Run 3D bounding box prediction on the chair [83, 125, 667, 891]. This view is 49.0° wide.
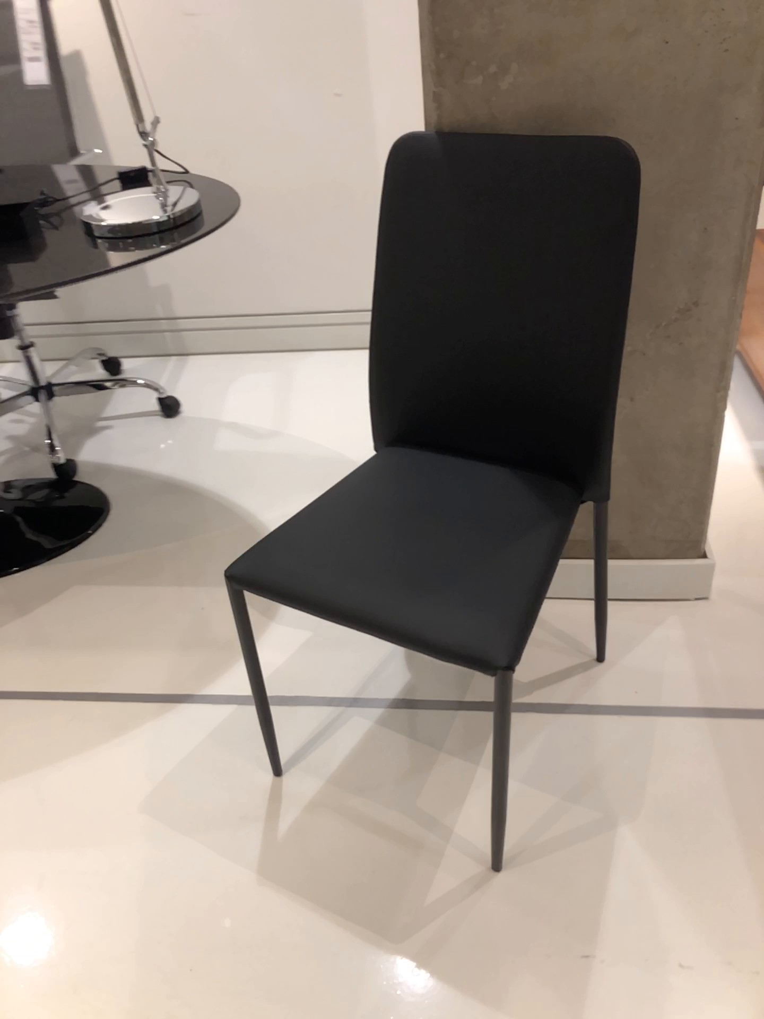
[{"bbox_3d":[0.059,-0.020,1.226,0.471,0.883,0.543,15,41,28],"label":"chair"}]
